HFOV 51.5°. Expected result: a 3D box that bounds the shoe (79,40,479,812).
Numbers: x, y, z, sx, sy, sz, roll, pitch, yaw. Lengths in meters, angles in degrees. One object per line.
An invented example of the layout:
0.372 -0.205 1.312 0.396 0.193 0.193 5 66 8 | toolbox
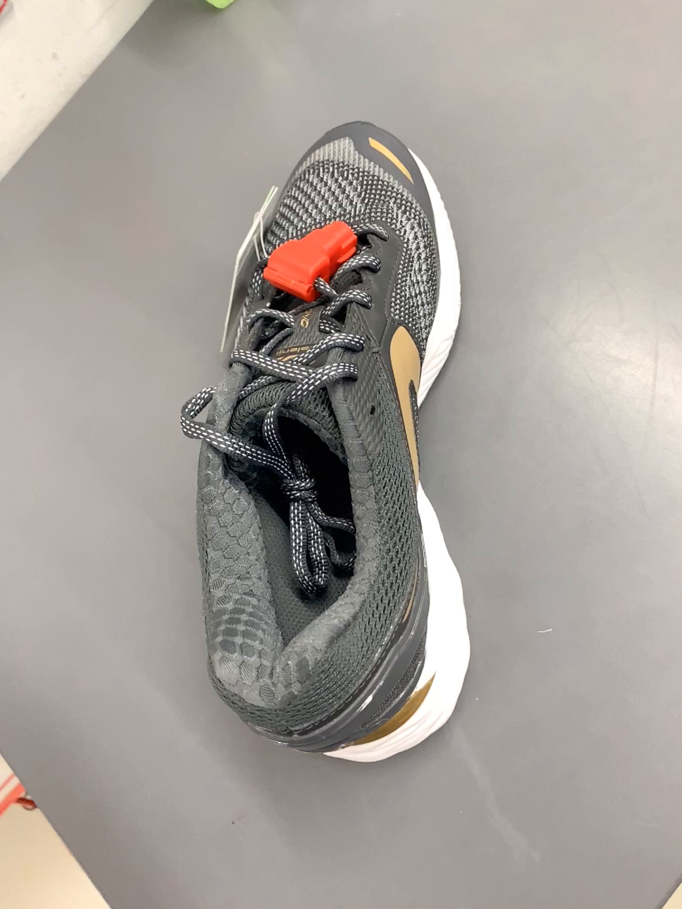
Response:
-0.009 -0.012 0.261 0.100 0.090 0.240 -4 71 17 | shoe
